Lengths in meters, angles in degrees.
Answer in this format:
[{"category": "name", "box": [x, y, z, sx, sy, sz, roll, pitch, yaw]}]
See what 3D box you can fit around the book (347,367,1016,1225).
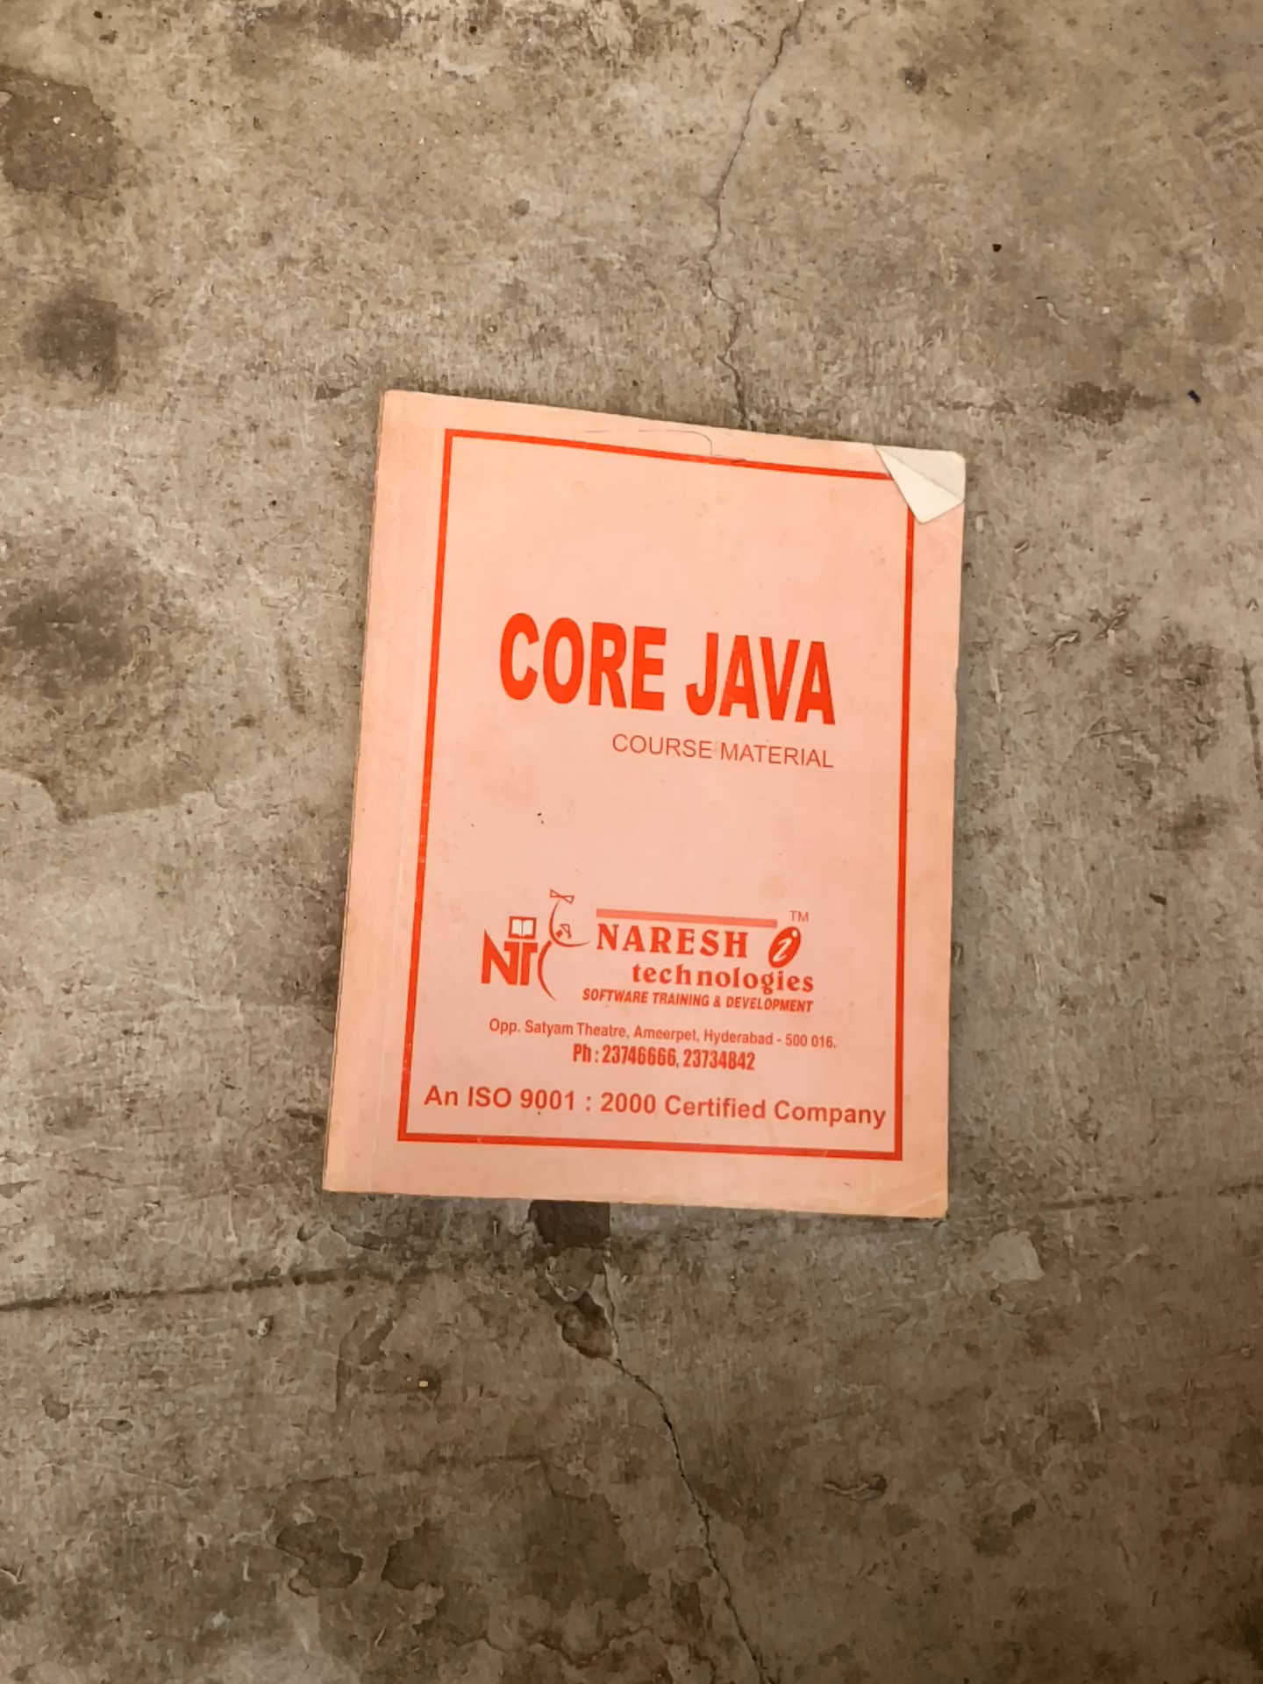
[{"category": "book", "box": [0.020, -0.015, 0.449, 0.200, 0.030, 0.260, 3, 81, -7]}]
